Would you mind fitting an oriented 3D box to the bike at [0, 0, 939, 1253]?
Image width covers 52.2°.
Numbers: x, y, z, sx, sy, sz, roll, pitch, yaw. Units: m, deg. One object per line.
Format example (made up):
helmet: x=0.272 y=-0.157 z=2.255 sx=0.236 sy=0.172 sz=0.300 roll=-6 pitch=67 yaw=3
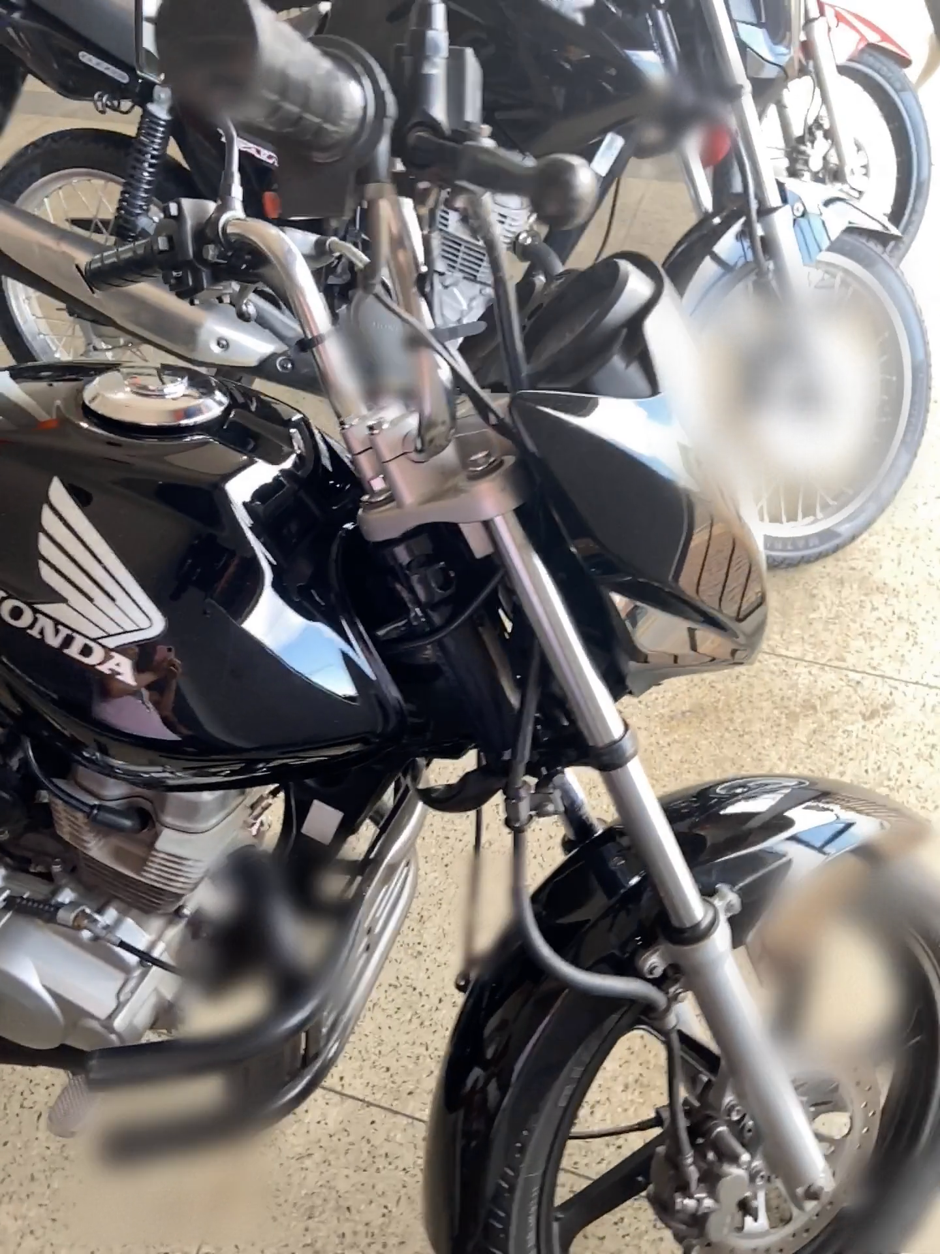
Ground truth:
bike: x=-0.335 y=-0.011 z=0.972 sx=1.735 sy=1.138 sz=0.777 roll=9 pitch=49 yaw=8
